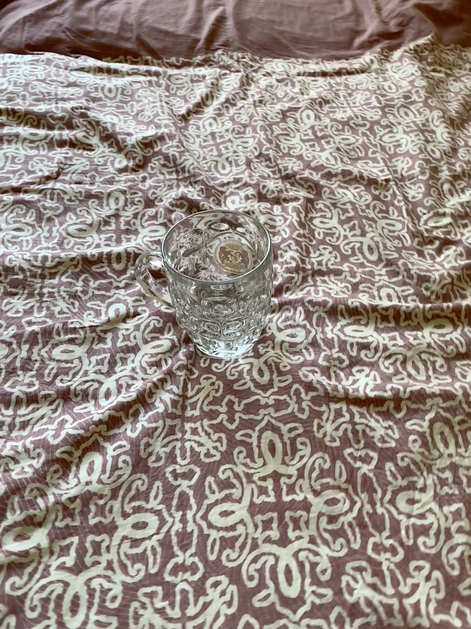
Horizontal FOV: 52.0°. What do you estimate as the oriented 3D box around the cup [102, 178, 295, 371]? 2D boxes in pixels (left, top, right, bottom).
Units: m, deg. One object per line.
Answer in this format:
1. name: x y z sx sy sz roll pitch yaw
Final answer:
1. cup: -0.029 -0.033 0.418 0.130 0.109 0.091 13 51 5
